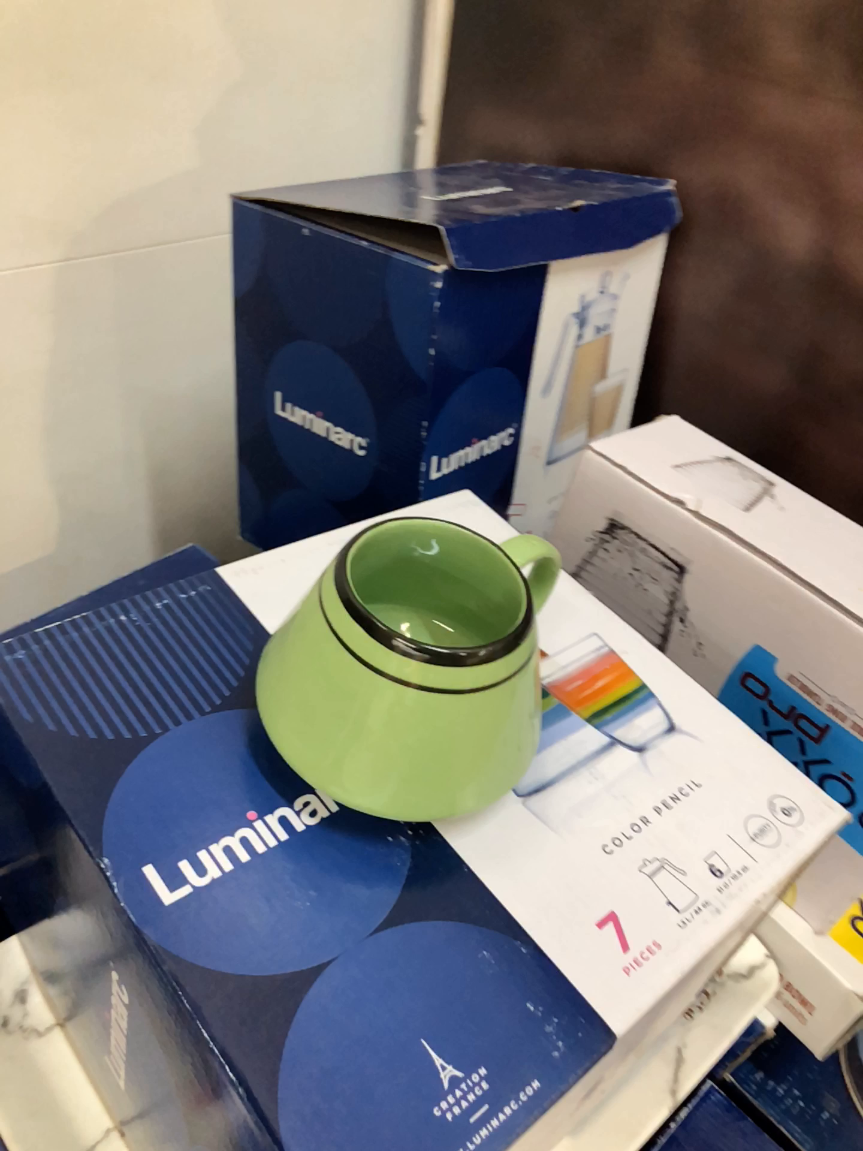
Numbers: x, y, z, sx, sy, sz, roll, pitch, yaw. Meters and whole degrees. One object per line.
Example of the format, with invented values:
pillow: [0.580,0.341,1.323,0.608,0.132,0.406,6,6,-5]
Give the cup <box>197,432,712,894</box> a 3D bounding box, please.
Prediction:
cup: [0.007,0.020,0.348,0.141,0.069,0.110,-23,47,-35]
